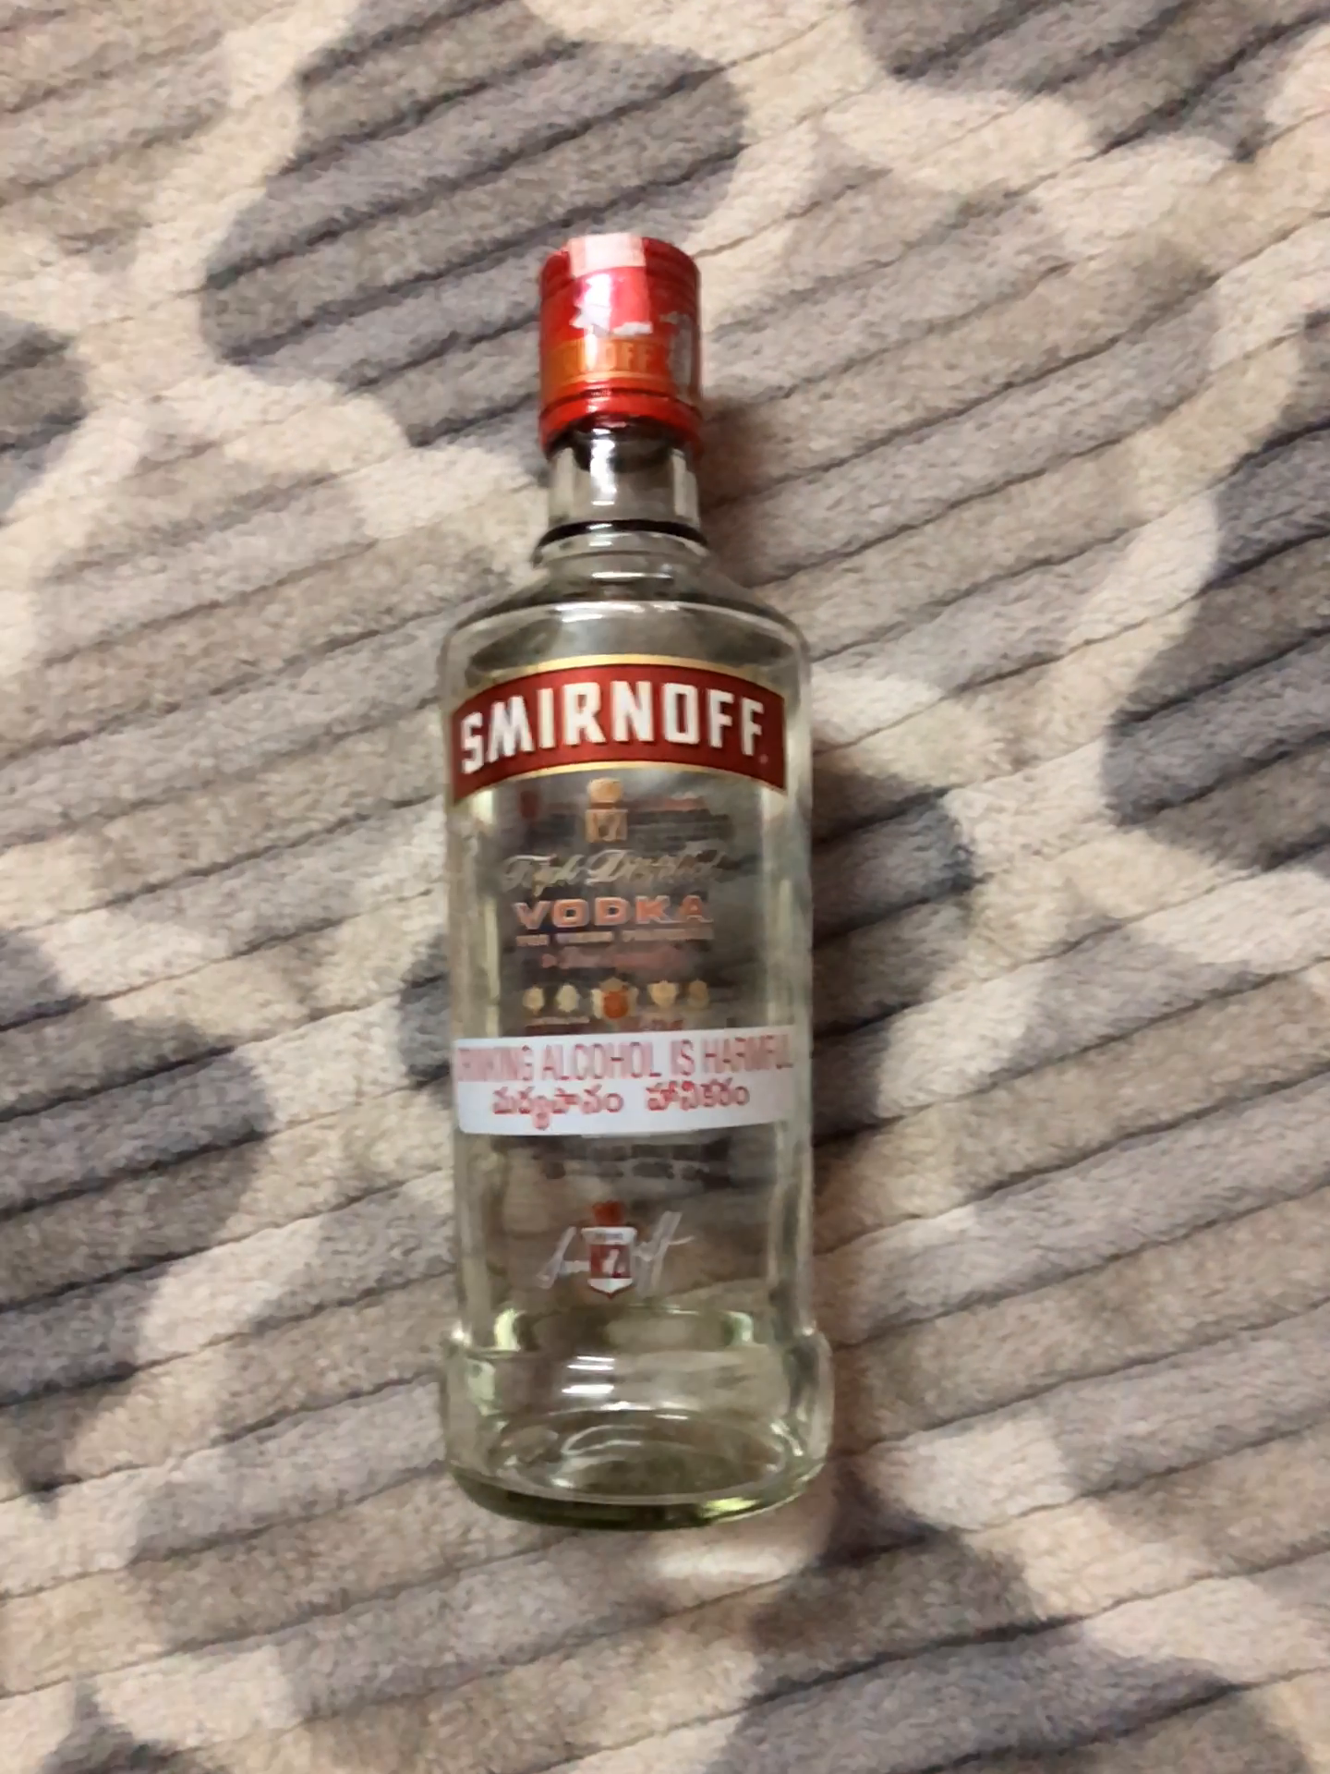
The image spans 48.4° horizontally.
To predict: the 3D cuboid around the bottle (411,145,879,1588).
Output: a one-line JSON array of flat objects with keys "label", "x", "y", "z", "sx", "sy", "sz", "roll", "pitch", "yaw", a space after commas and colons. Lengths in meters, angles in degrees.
[{"label": "bottle", "x": -0.004, "y": -0.006, "z": 0.265, "sx": 0.070, "sy": 0.060, "sz": 0.230, "roll": -1, "pitch": 83, "yaw": 3}]
